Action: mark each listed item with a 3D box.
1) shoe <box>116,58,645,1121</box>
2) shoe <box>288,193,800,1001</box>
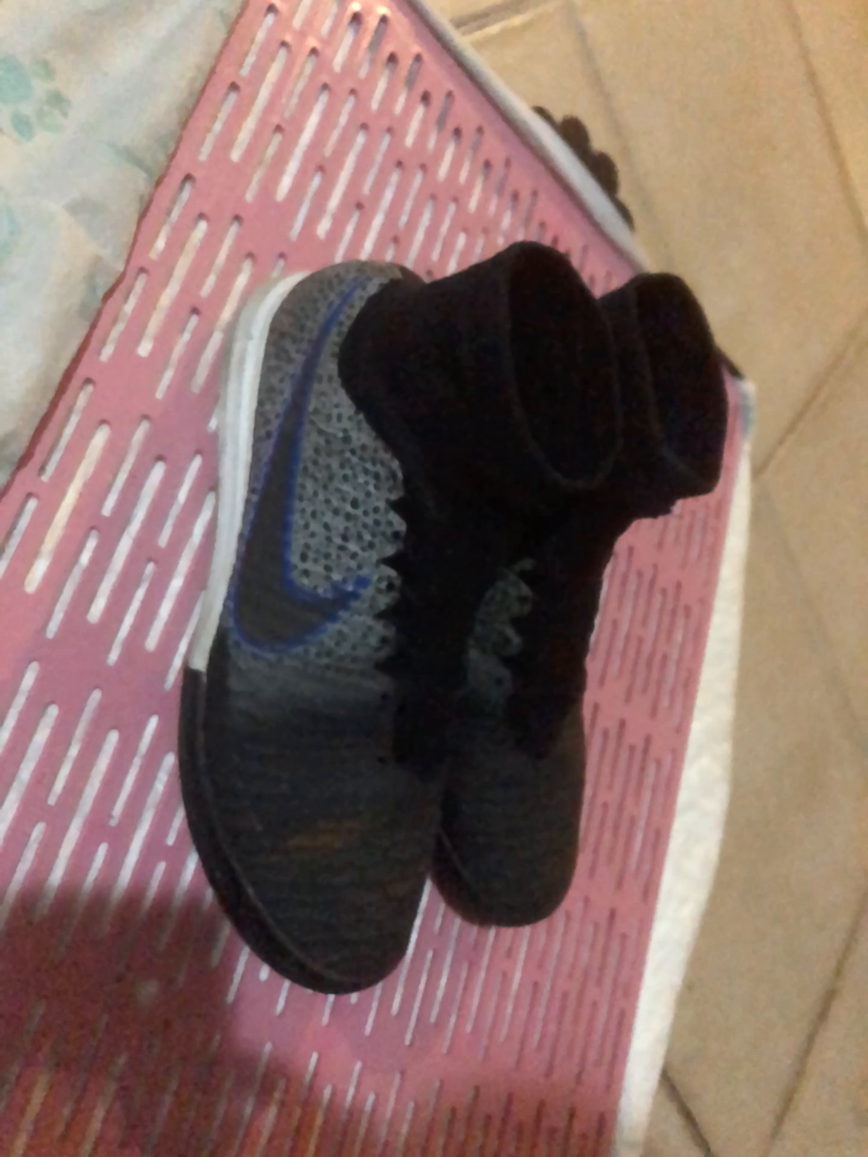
[{"bbox_3d":[-0.026,0.005,0.333,0.101,0.149,0.270,4,82,-45],"label":"shoe"},{"bbox_3d":[0.040,0.008,0.398,0.101,0.149,0.260,-6,89,-45],"label":"shoe"}]
